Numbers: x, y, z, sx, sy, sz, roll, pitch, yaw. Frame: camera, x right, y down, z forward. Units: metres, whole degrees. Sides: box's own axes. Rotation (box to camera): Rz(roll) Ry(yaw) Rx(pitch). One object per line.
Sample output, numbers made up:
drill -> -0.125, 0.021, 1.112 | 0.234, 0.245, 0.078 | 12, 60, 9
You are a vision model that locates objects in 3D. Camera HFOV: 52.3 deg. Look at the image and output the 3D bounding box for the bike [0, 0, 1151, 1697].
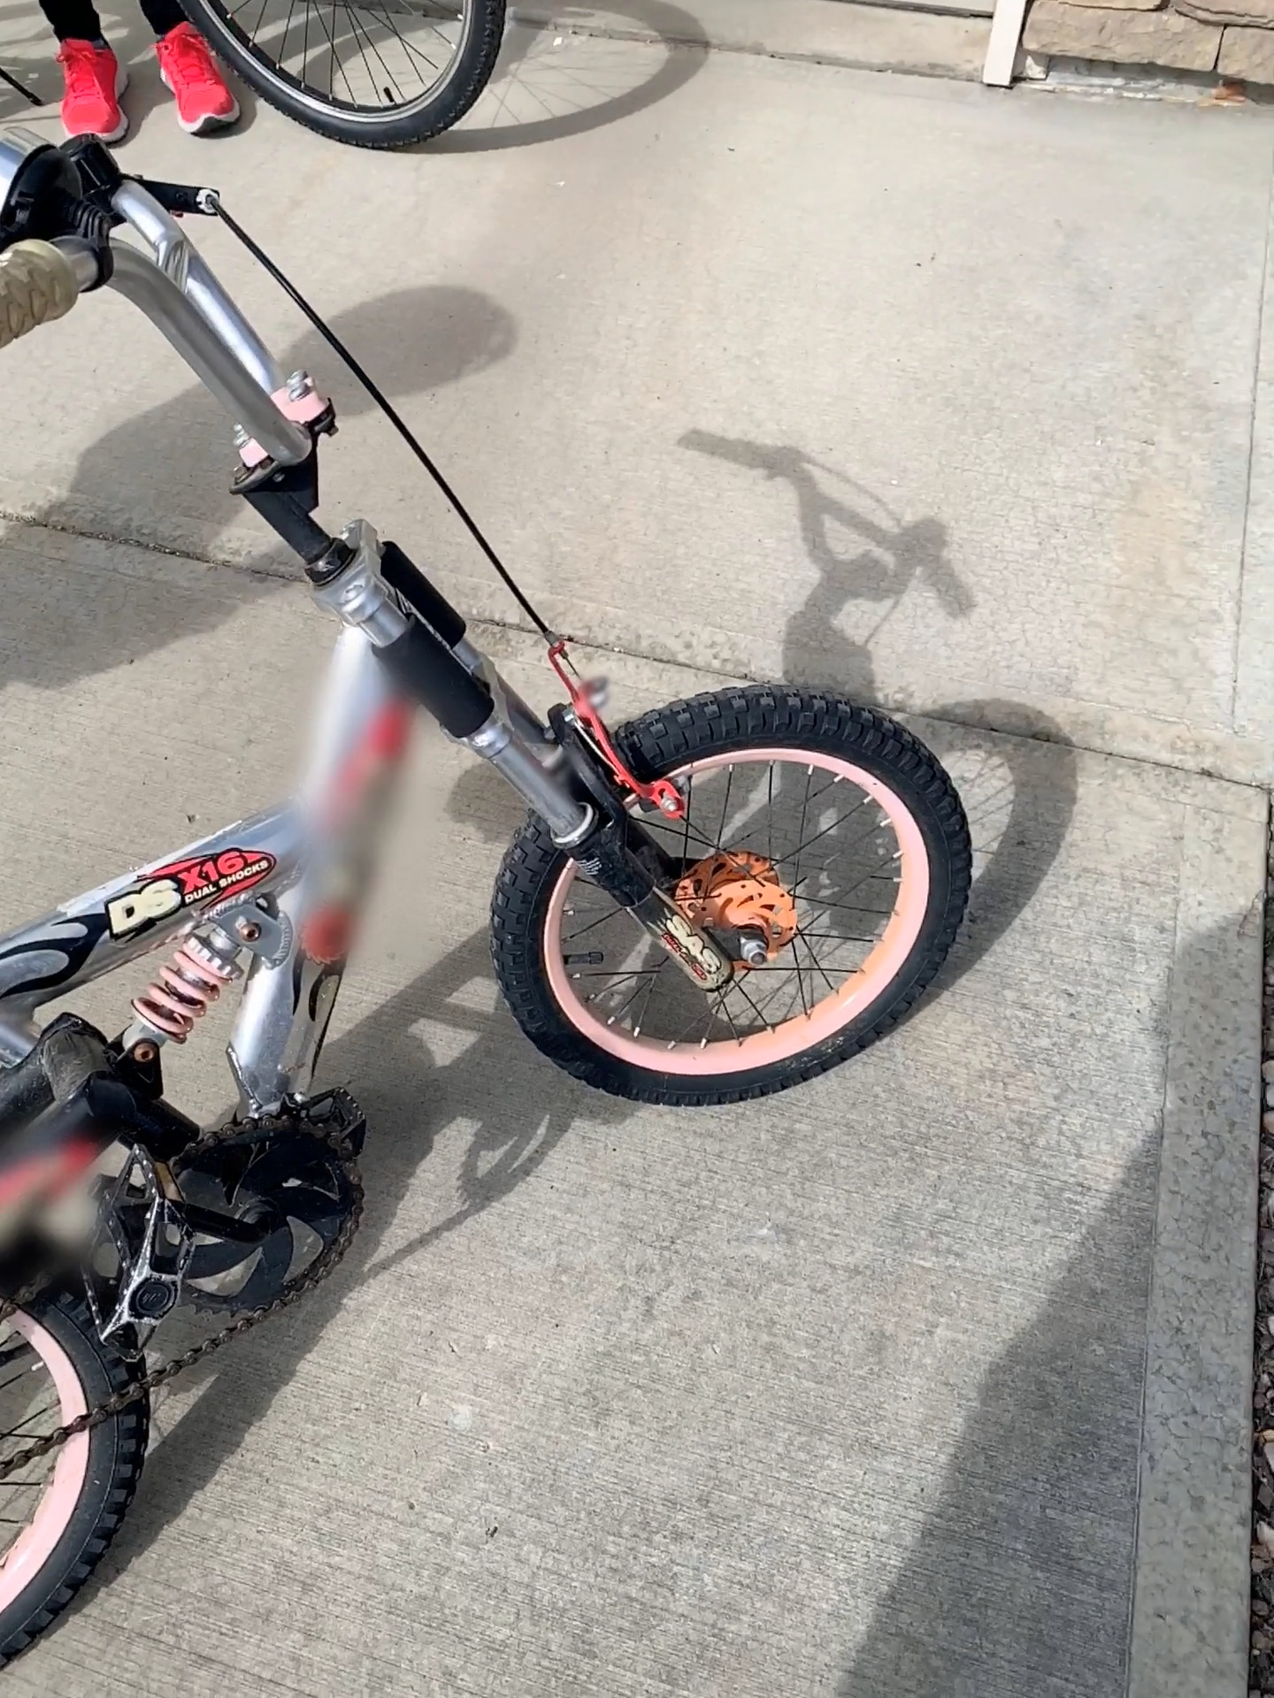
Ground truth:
bike -> -0.281, -0.016, 0.825 | 1.125, 0.691, 0.358 | -32, 57, -24
